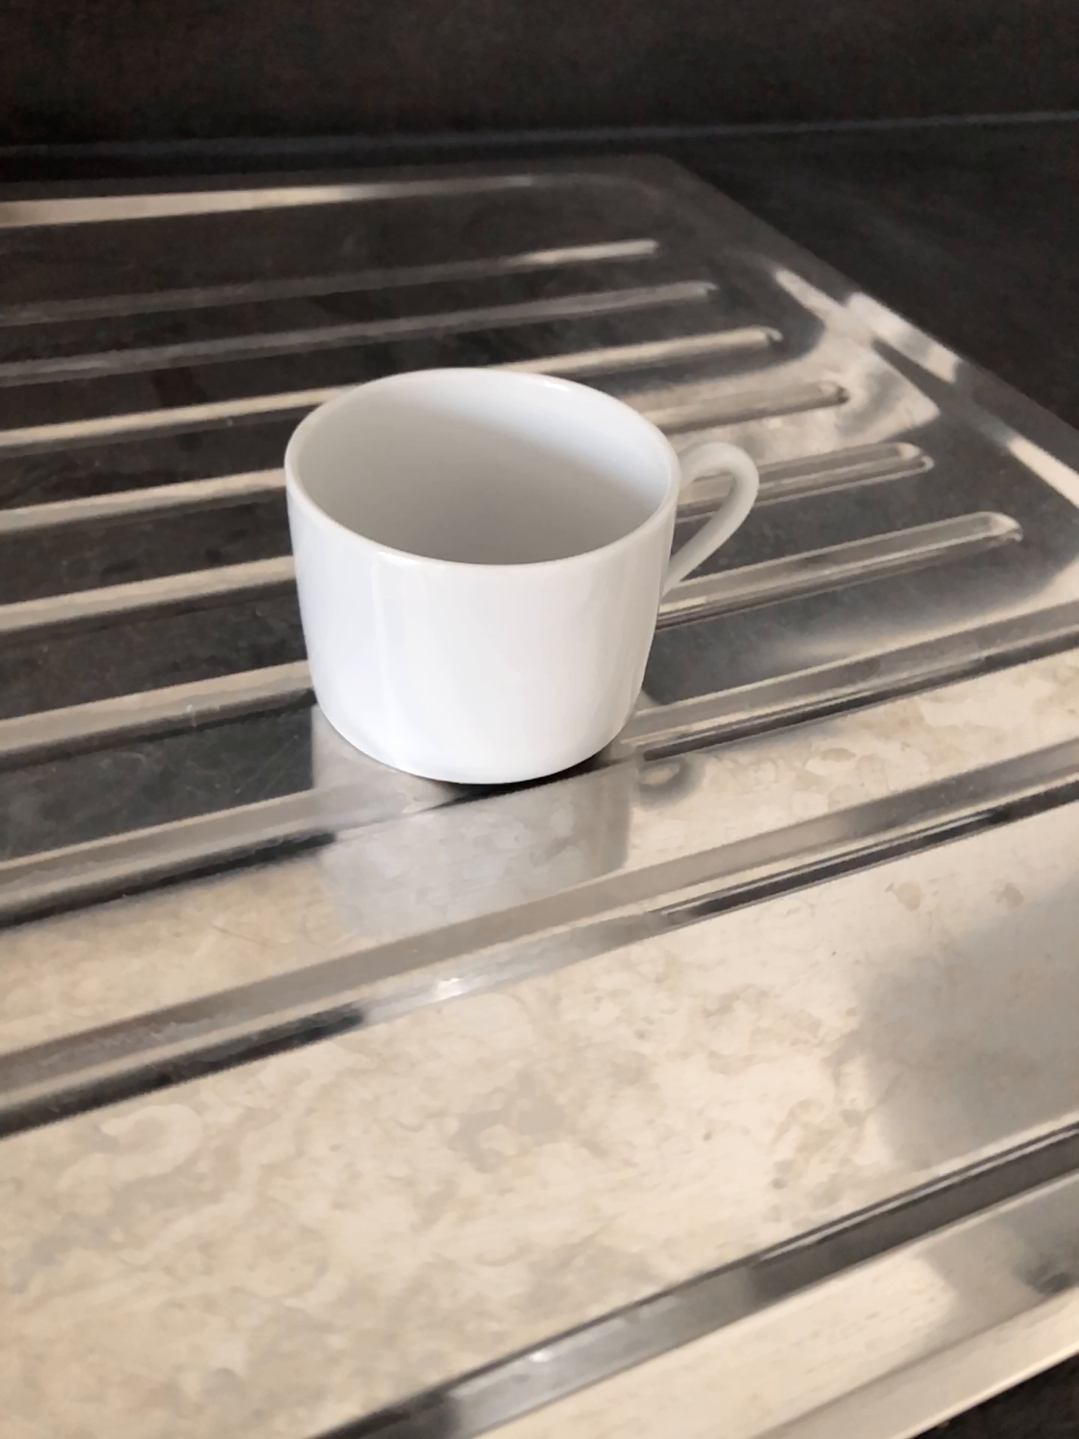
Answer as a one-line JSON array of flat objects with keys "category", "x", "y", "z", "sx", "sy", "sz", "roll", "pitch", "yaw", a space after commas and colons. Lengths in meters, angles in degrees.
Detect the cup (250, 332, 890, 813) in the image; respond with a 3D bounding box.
[{"category": "cup", "x": 0.000, "y": -0.036, "z": 0.258, "sx": 0.110, "sy": 0.060, "sz": 0.080, "roll": -7, "pitch": 42, "yaw": -15}]
